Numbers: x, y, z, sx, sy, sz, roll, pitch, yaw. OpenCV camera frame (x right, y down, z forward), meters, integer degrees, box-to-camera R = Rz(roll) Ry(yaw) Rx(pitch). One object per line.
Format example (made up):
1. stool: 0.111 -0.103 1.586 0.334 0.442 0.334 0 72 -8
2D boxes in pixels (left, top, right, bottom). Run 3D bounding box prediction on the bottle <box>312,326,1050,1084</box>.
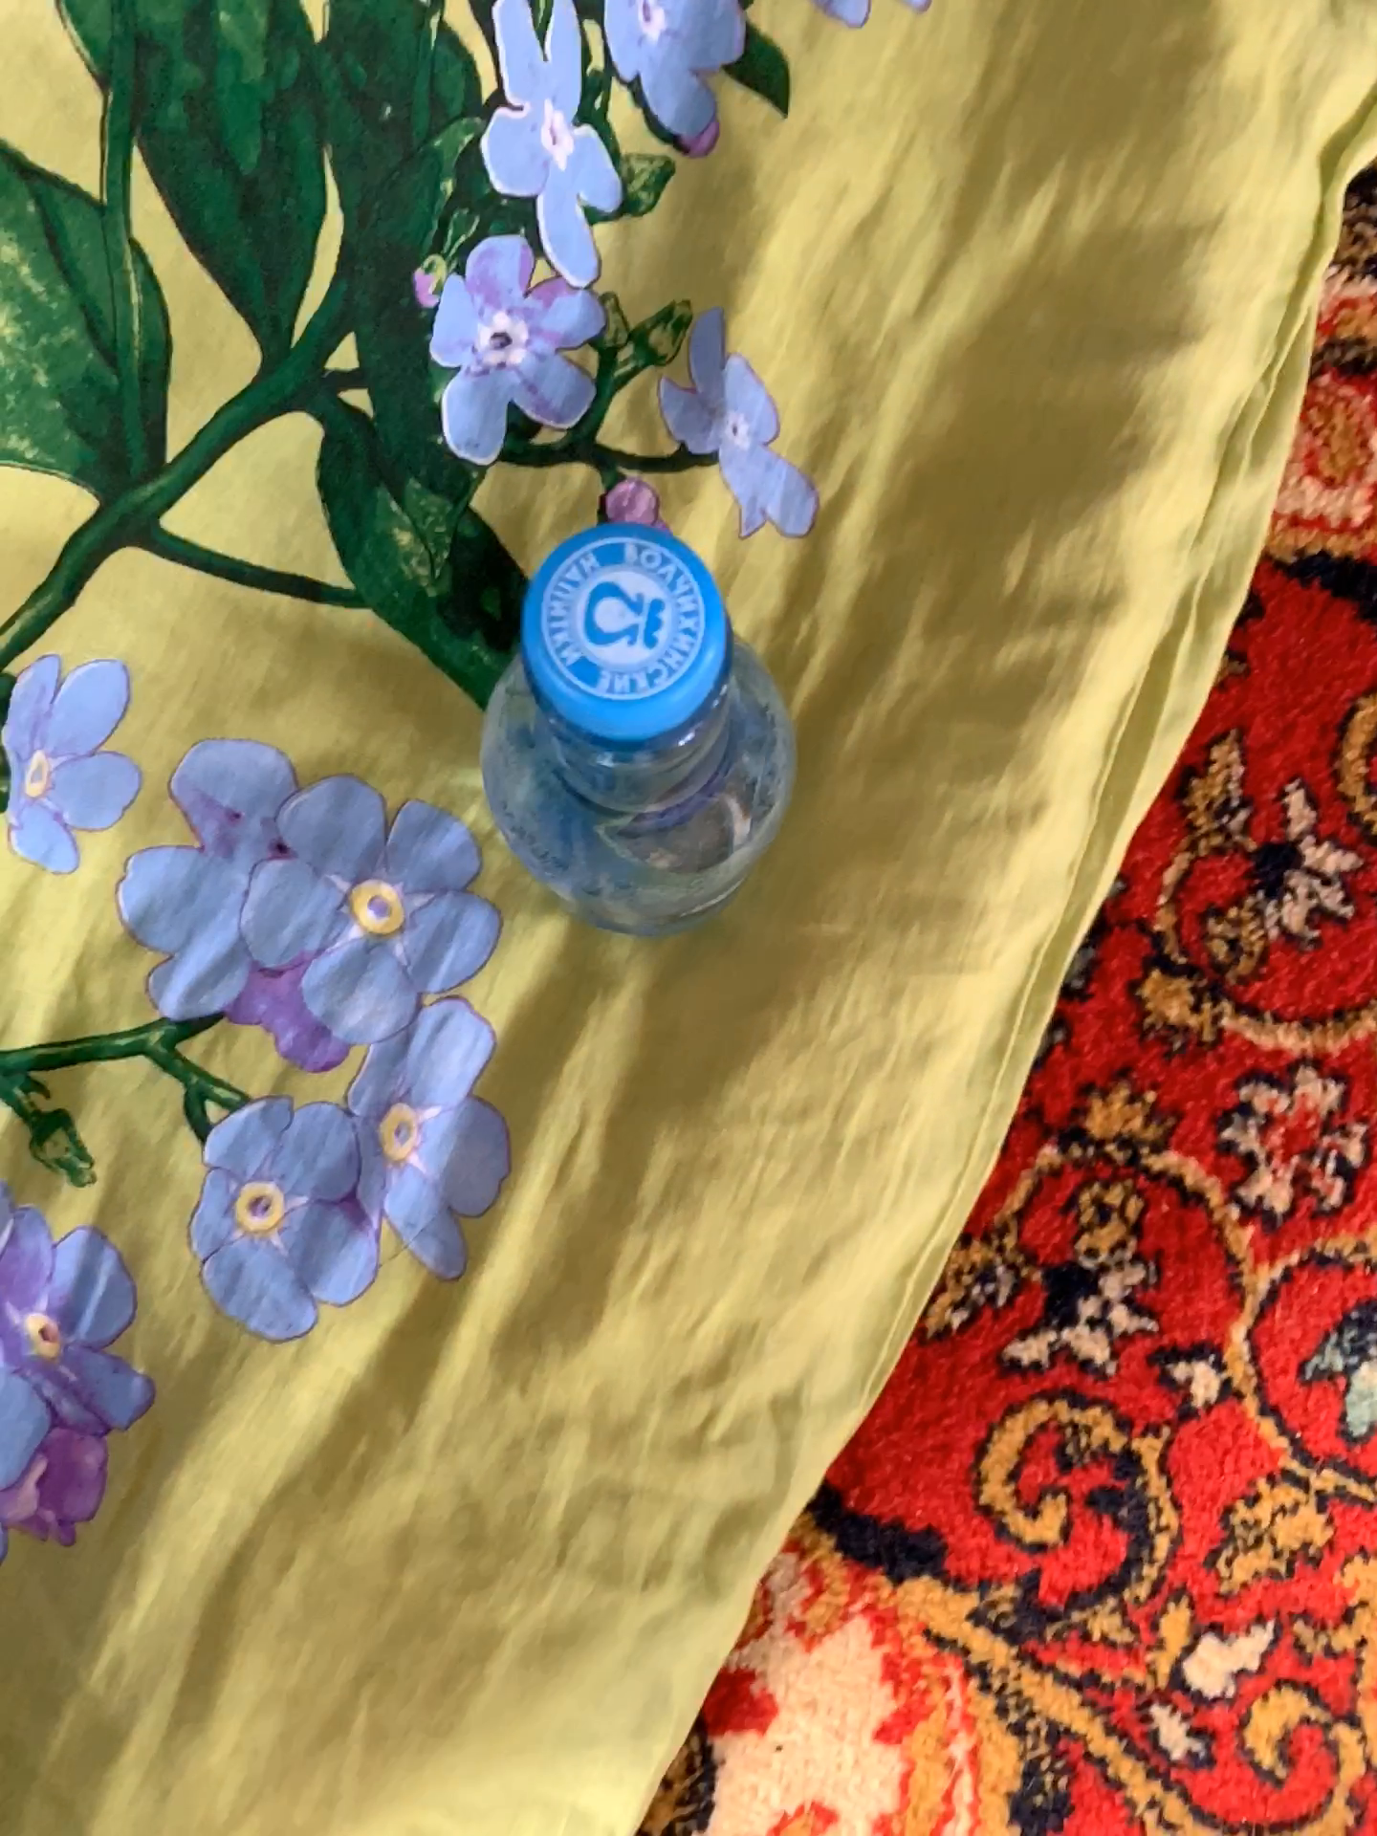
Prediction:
1. bottle: -0.004 -0.026 0.304 0.070 0.220 0.080 31 87 -1
